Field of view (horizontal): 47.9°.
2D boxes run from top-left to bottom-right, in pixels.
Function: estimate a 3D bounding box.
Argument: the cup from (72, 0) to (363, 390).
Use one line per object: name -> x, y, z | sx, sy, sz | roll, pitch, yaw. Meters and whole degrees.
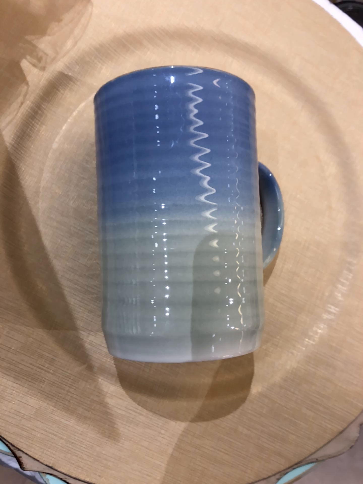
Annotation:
cup -> 0.017, -0.016, 0.199 | 0.120, 0.060, 0.140 | 1, 81, -32
